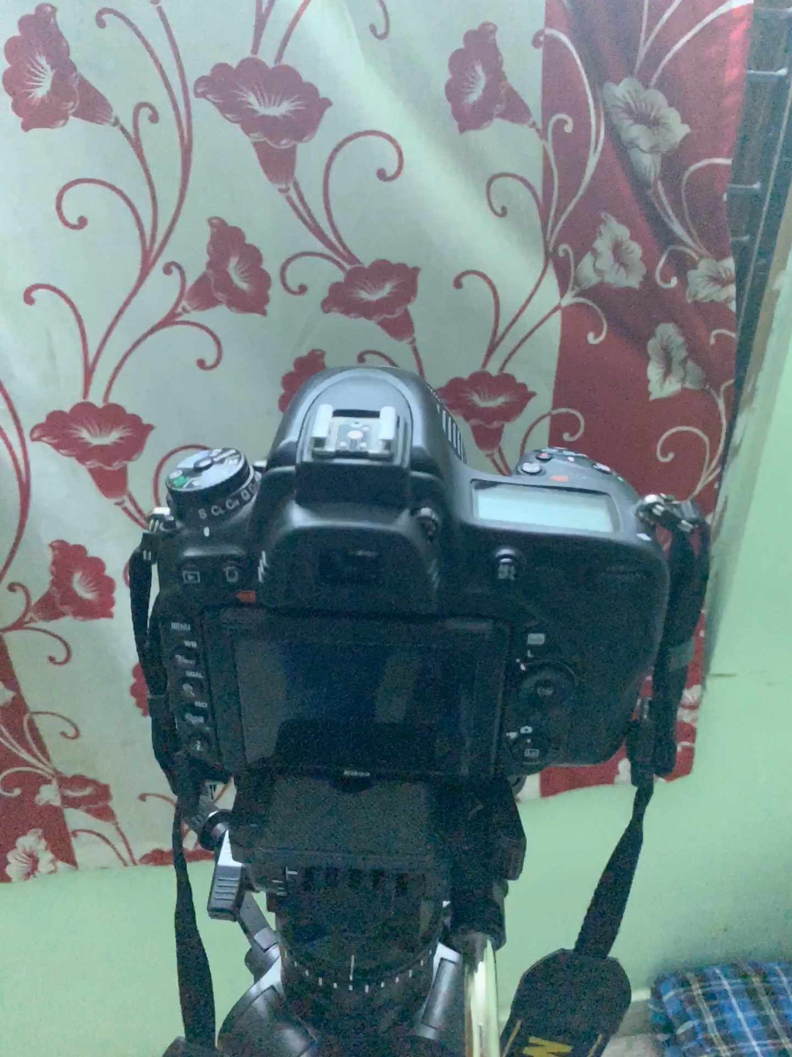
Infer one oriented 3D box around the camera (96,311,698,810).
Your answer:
[{"bbox_3d":[0.000,0.000,0.271,0.139,0.112,0.130,2,26,0],"label":"camera"}]
